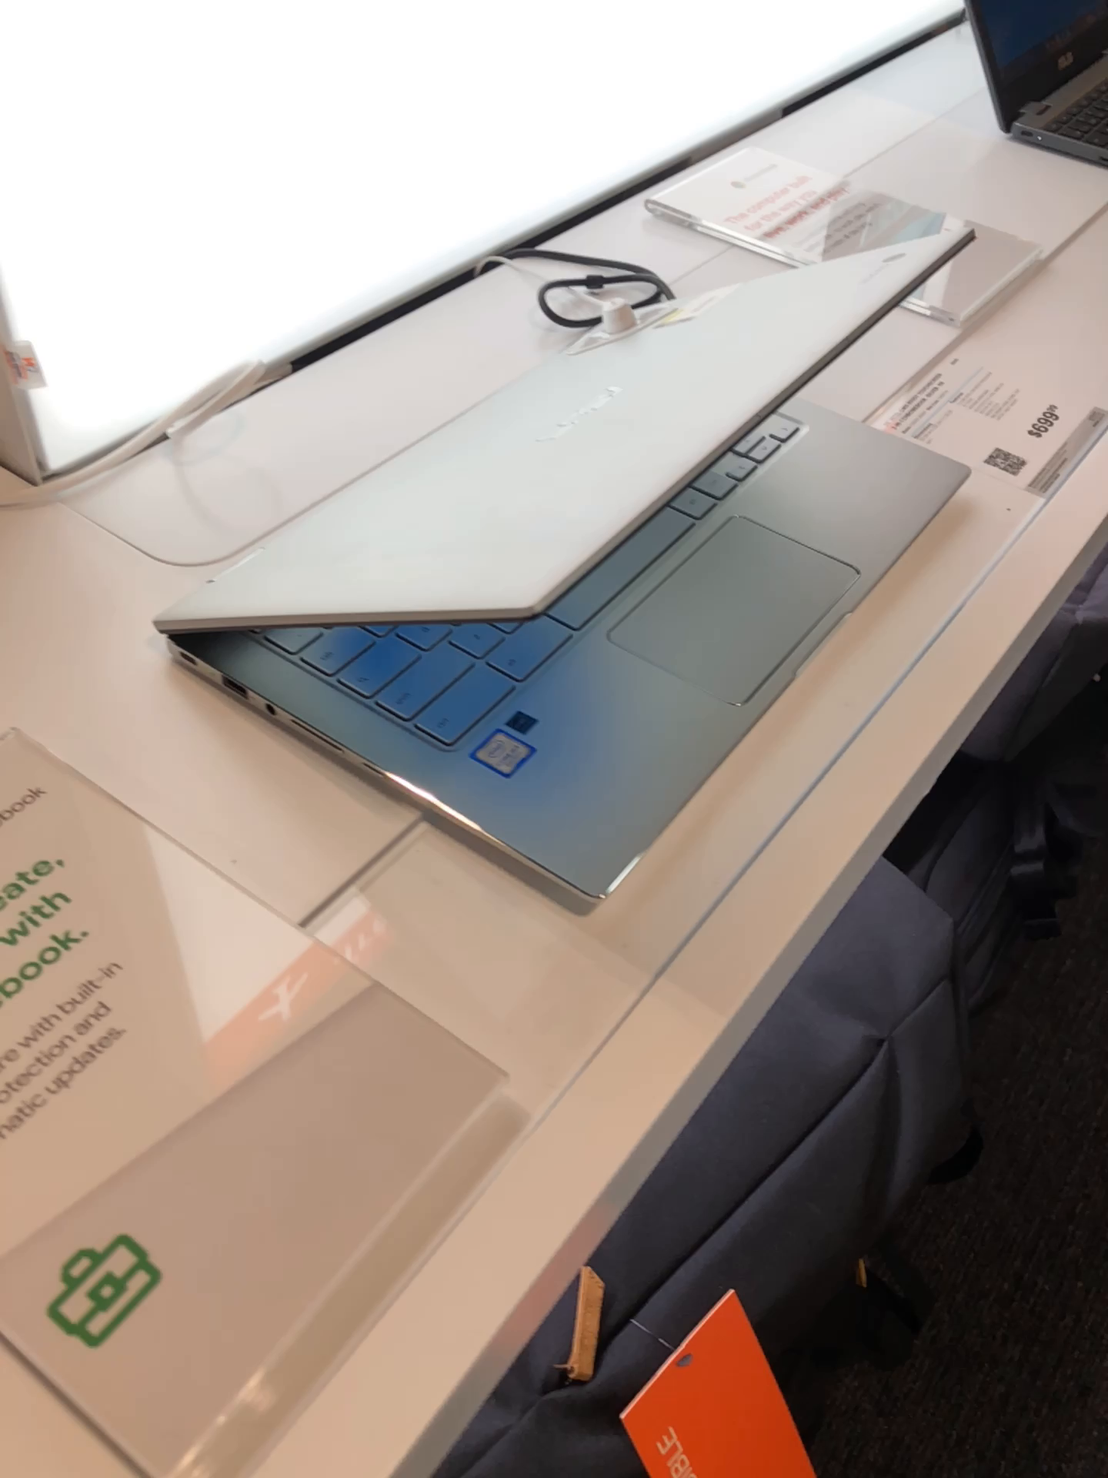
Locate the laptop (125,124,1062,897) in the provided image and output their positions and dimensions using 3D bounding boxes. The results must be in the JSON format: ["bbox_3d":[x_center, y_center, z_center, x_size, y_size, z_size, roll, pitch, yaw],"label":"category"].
[{"bbox_3d":[0.032,-0.117,0.477,0.193,0.102,0.312,30,52,22],"label":"laptop"}]
